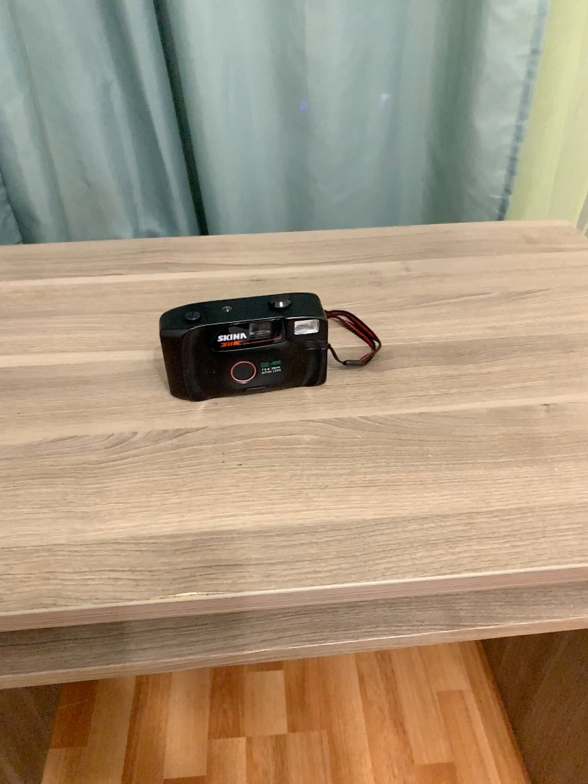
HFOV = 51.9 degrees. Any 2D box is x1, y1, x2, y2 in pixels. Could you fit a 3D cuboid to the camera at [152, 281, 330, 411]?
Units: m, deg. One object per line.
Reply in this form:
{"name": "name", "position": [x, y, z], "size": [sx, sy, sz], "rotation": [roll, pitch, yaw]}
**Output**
{"name": "camera", "position": [-0.039, -0.035, 0.447], "size": [0.120, 0.069, 0.046], "rotation": [-7, 37, -10]}
